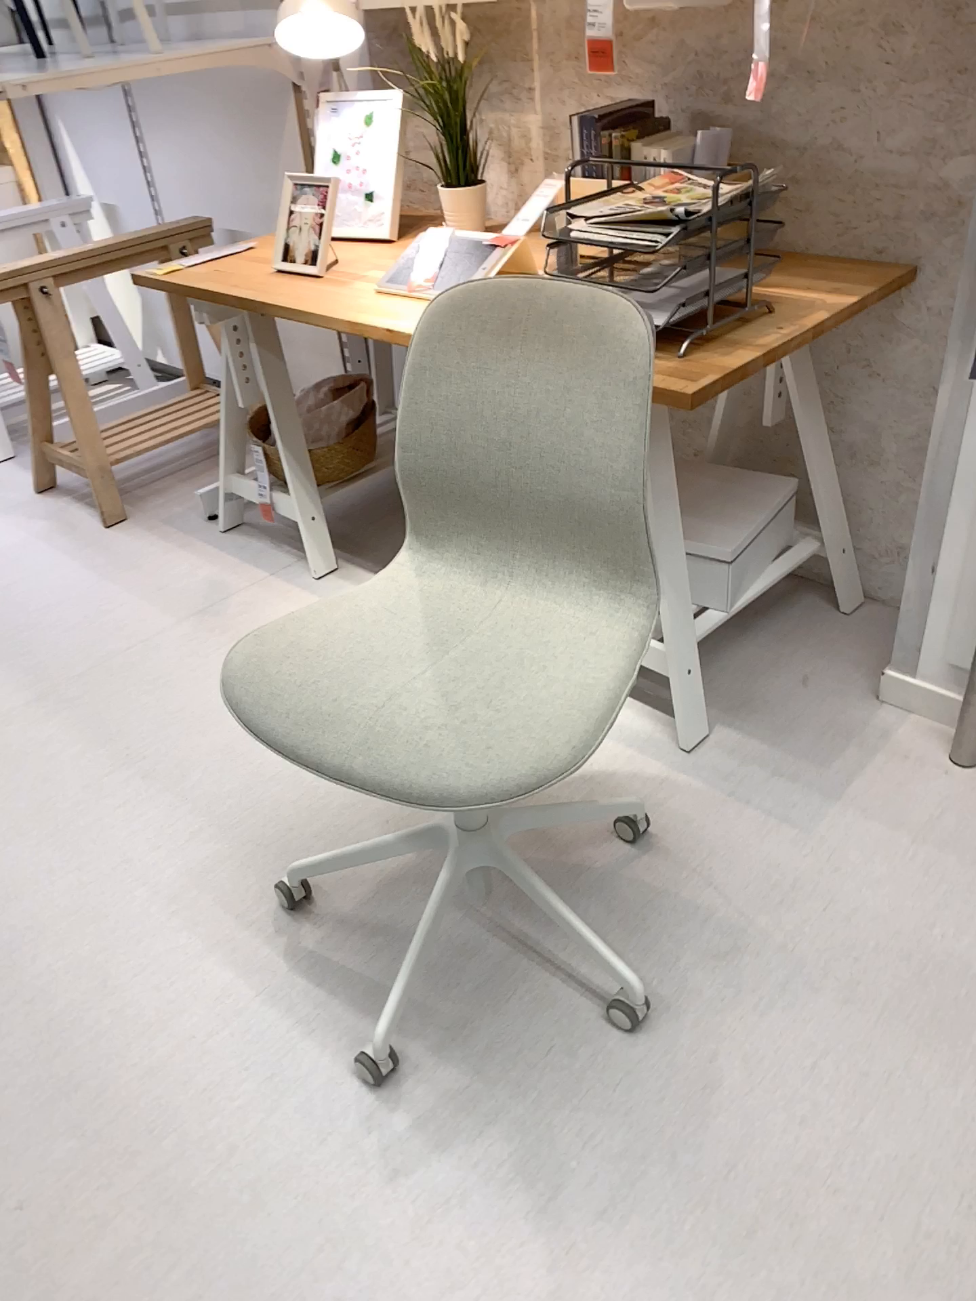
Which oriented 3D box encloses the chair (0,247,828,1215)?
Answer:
[{"bbox_3d":[-0.058,0.034,1.284,0.662,0.866,0.661,20,42,32],"label":"chair"}]
